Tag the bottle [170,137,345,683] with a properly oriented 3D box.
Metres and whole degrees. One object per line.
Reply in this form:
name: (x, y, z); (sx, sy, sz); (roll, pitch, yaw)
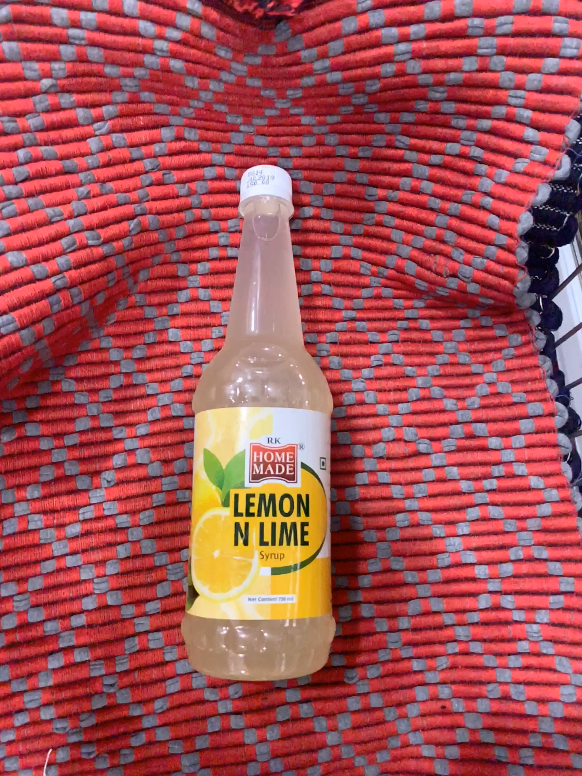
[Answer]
bottle: (-0.014, 0.003, 0.310); (0.070, 0.070, 0.260); (1, 73, -2)
